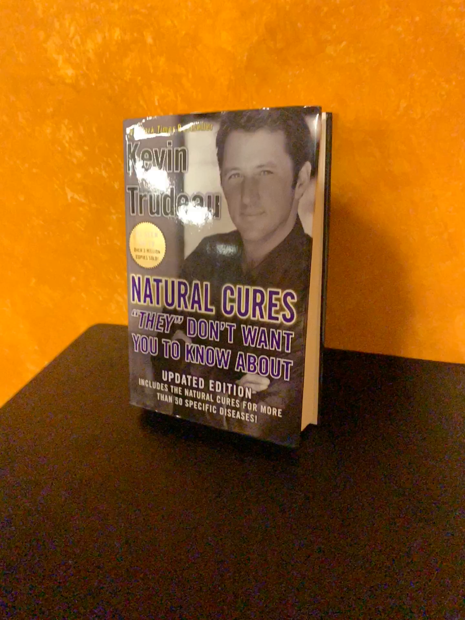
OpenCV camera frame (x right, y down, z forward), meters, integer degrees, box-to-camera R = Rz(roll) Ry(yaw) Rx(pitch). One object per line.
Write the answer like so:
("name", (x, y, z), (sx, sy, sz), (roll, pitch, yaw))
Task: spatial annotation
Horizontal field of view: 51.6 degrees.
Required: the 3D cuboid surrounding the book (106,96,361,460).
("book", (-0.008, -0.026, 0.365), (0.180, 0.229, 0.050), (7, 12, 27))
